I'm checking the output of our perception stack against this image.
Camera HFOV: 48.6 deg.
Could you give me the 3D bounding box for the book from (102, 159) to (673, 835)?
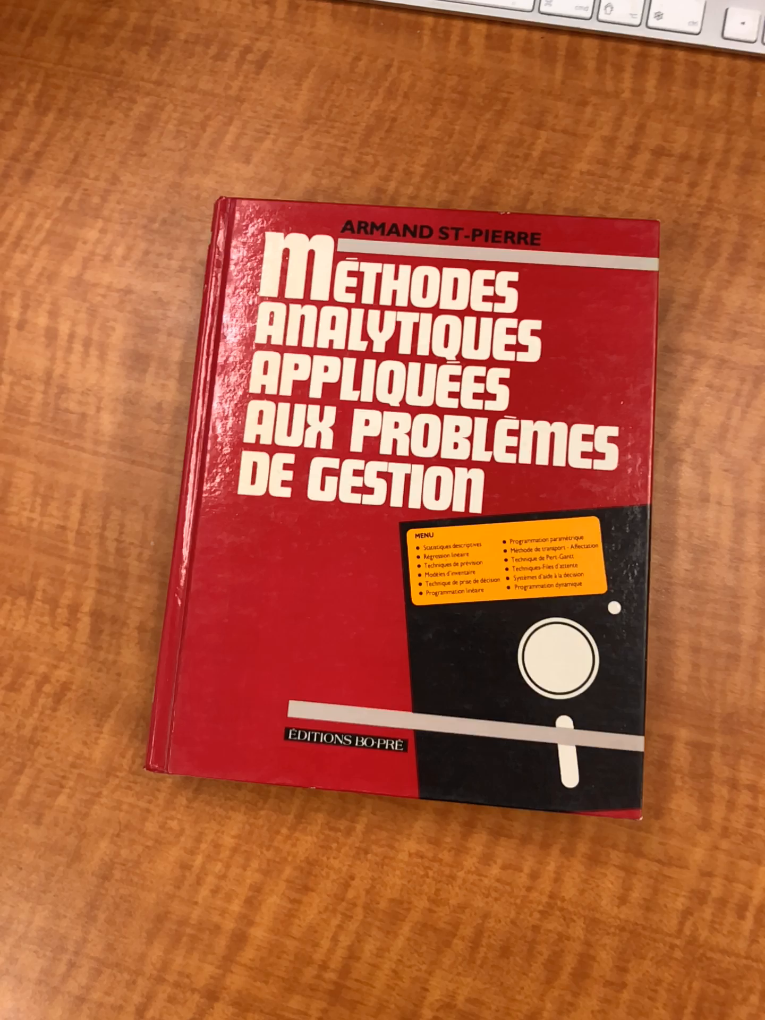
[{"bbox_3d":[0.007,-0.011,0.352,0.200,0.050,0.250,5,81,4],"label":"book"}]
